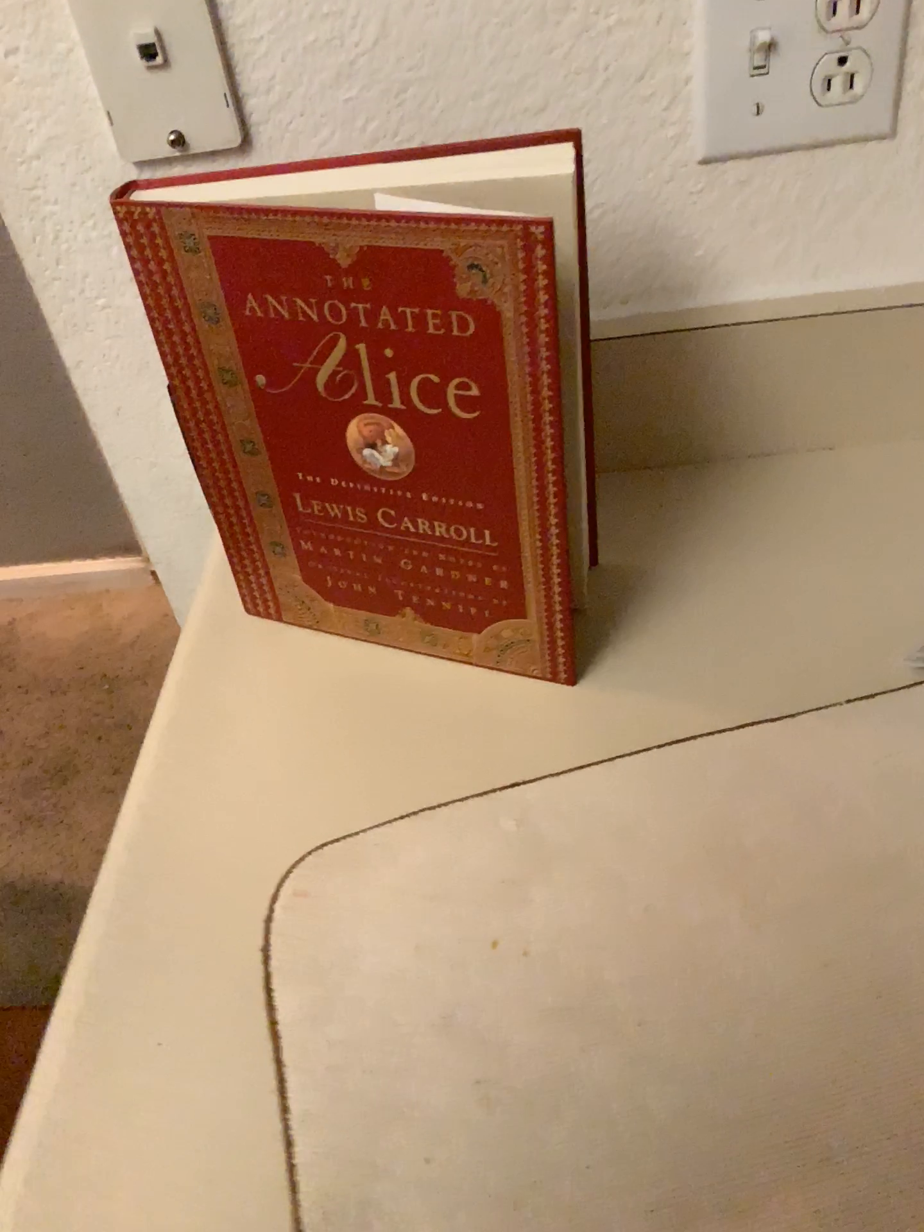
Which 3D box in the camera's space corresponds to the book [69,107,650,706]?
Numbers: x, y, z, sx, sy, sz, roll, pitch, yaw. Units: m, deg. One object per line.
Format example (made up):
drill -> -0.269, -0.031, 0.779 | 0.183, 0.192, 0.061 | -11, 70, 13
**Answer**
book -> -0.029, -0.111, 0.562 | 0.230, 0.260, 0.150 | 7, 44, 19
